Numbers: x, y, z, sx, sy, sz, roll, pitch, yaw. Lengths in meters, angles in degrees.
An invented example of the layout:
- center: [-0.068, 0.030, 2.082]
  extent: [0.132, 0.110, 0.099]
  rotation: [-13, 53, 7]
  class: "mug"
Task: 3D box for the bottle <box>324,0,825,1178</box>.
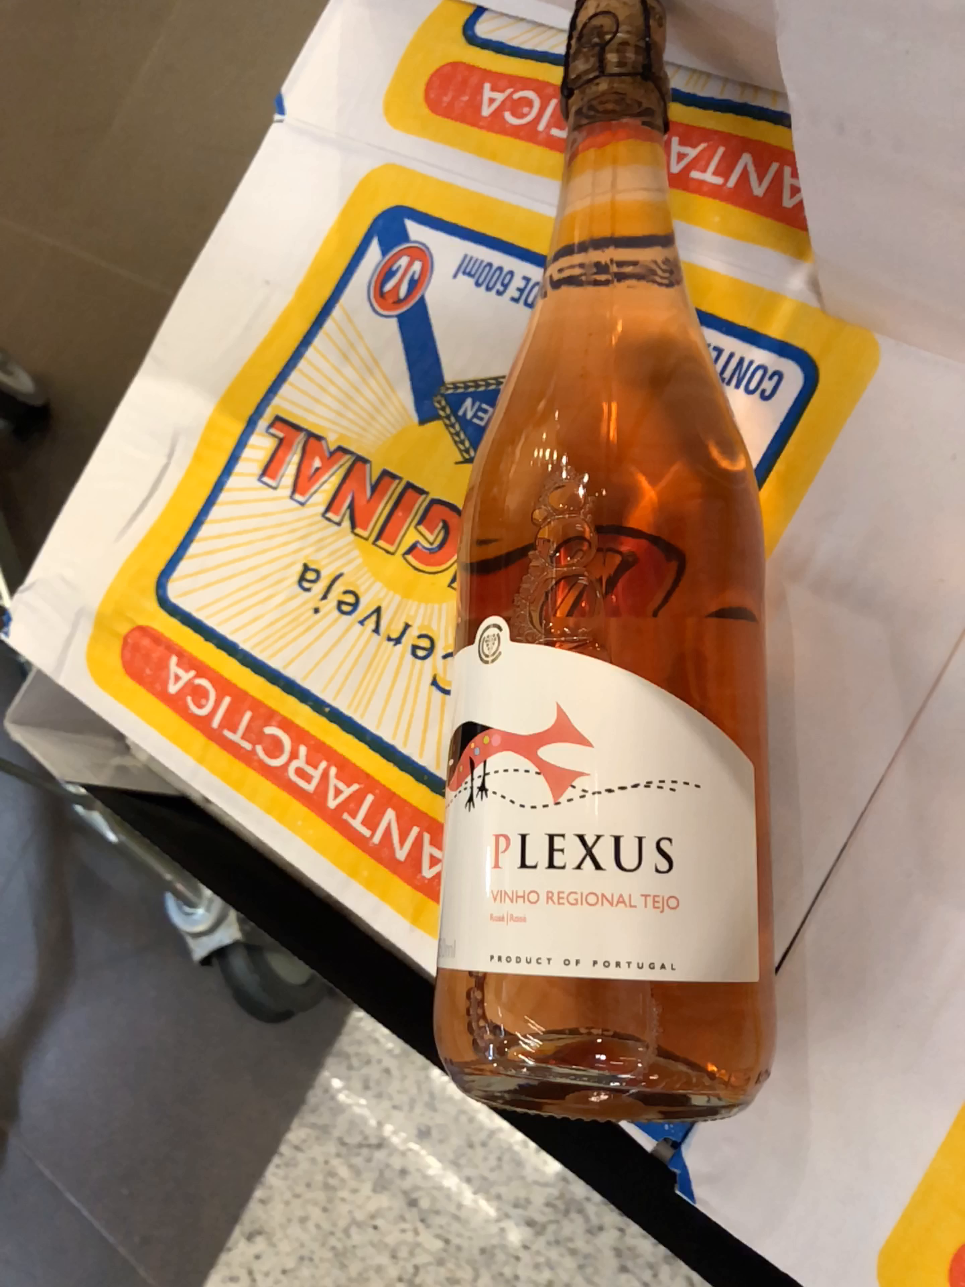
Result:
- center: [0.029, -0.039, 0.266]
  extent: [0.090, 0.070, 0.290]
  rotation: [-3, 75, 23]
  class: "bottle"
